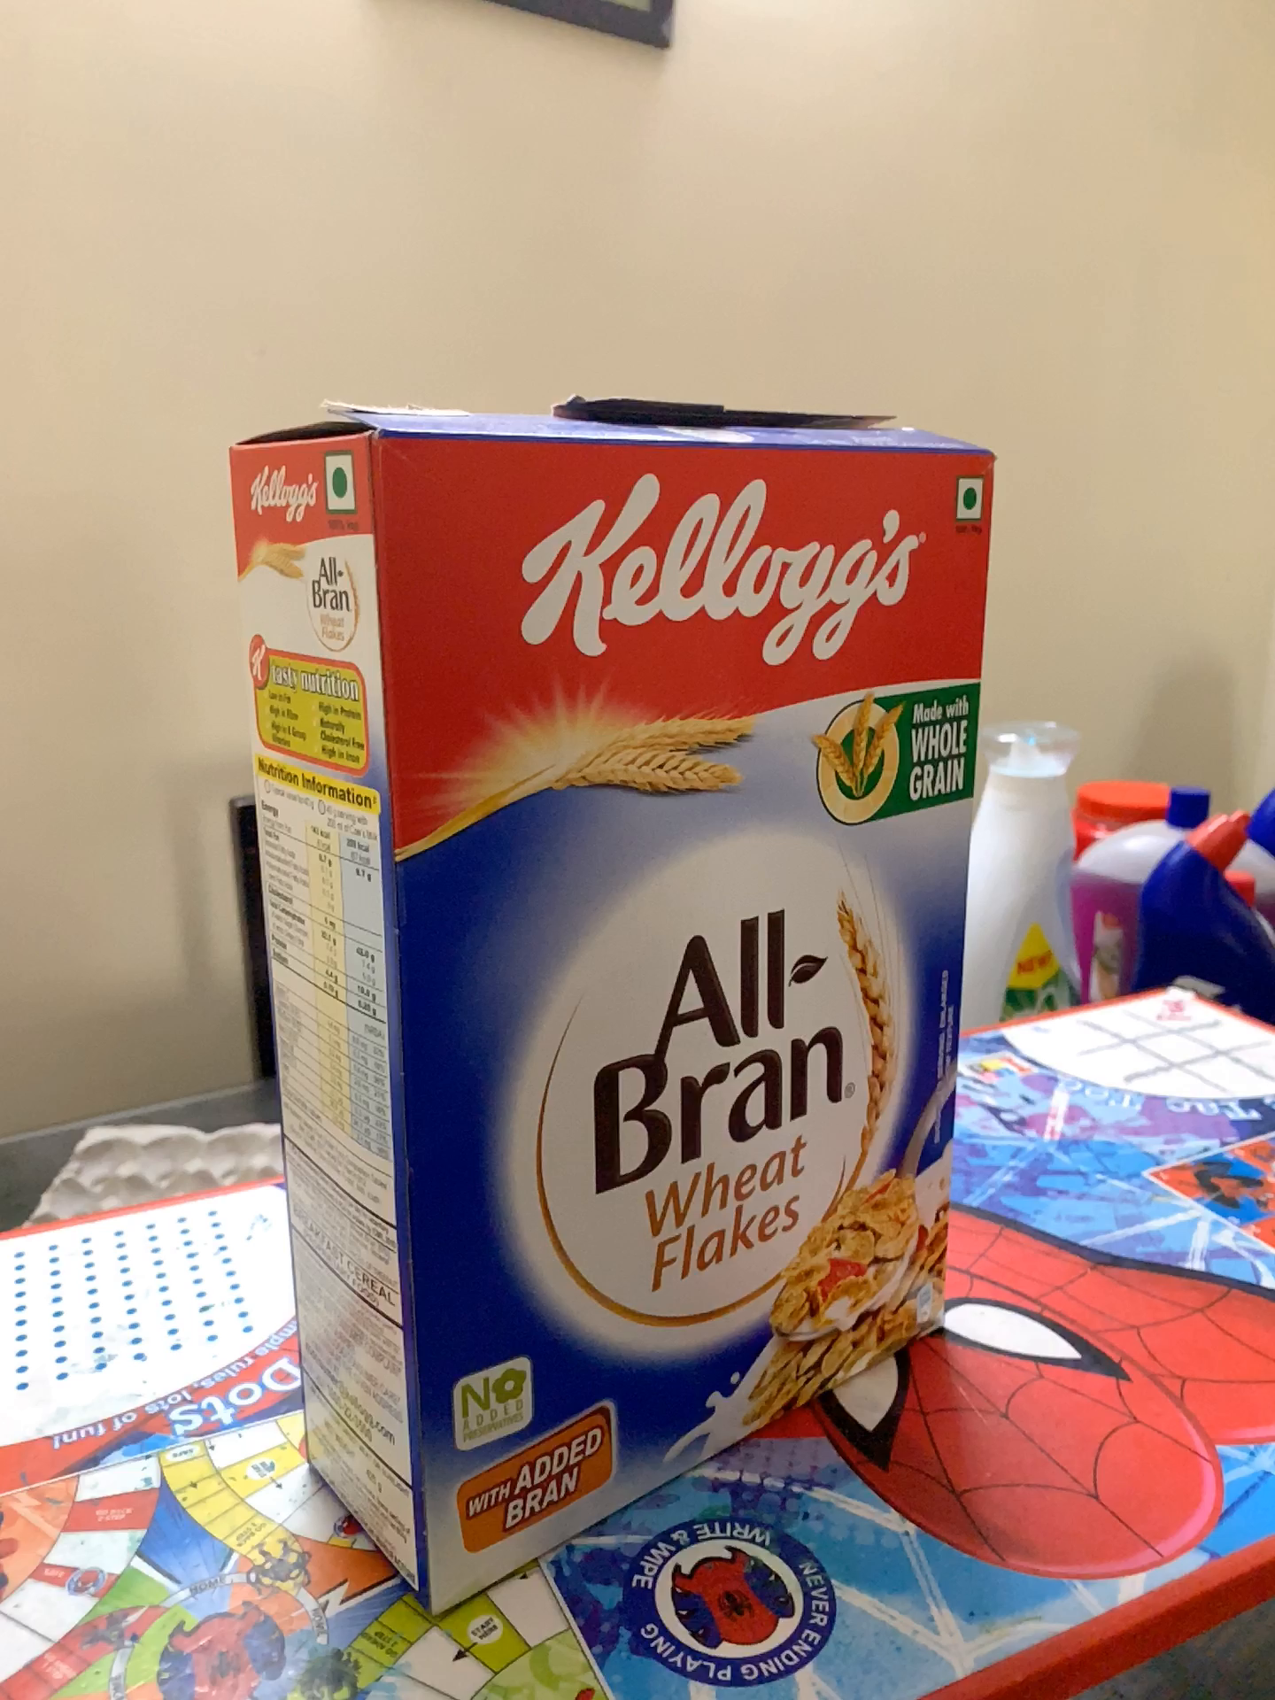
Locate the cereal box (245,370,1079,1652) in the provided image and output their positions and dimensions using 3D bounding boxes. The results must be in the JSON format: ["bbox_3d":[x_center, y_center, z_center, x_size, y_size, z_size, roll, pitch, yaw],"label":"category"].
[{"bbox_3d":[0.017,0.022,0.323,0.190,0.249,0.060,-11,17,-37],"label":"cereal box"}]
